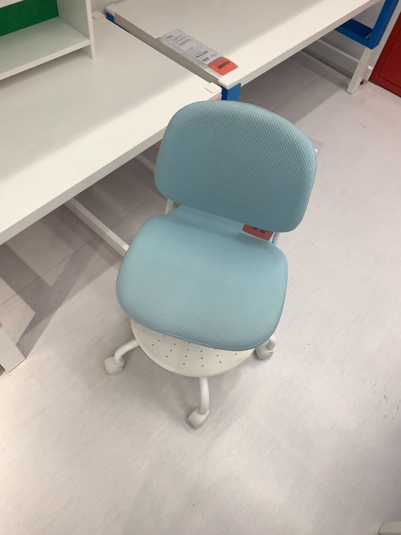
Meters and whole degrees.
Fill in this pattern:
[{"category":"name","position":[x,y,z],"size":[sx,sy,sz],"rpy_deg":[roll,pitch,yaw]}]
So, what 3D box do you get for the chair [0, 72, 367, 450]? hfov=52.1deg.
[{"category":"chair","position":[-0.002,0.028,1.104],"size":[0.580,0.679,0.611],"rpy_deg":[16,57,4]}]
